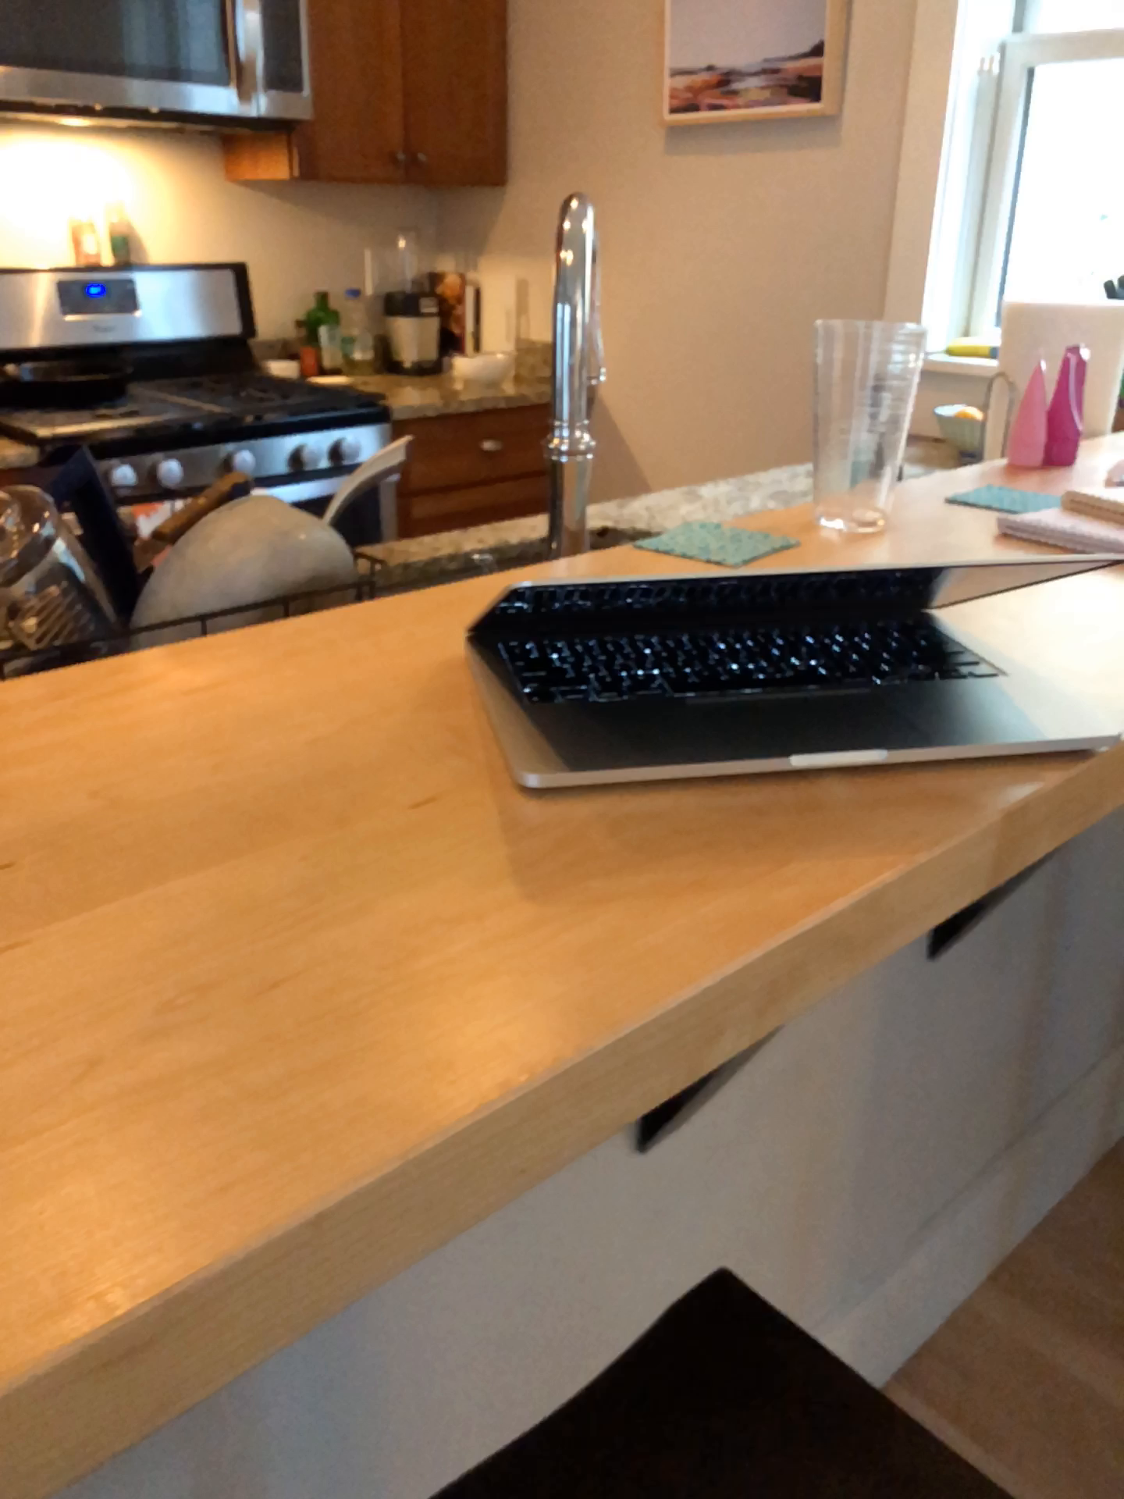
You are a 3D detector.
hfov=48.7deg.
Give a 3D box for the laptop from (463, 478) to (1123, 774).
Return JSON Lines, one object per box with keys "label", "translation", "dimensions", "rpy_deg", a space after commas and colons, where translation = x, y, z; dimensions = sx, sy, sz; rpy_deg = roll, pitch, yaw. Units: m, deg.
{"label": "laptop", "translation": [0.110, -0.079, 0.669], "dimensions": [0.300, 0.084, 0.211], "rpy_deg": [-4, 24, -11]}
